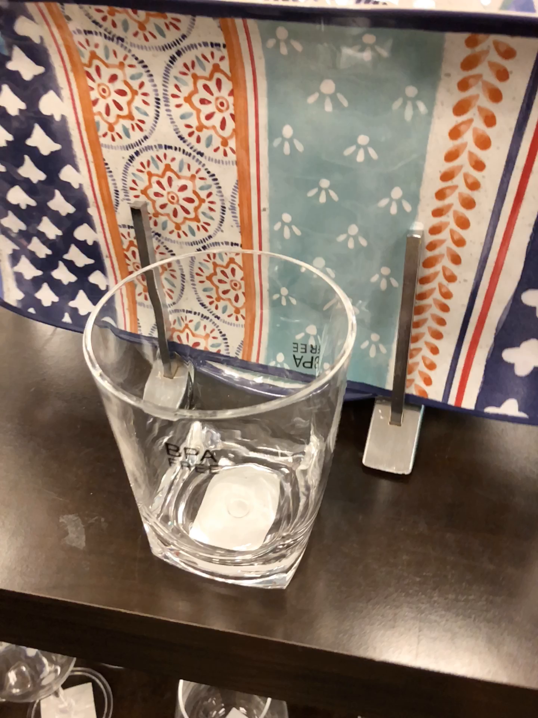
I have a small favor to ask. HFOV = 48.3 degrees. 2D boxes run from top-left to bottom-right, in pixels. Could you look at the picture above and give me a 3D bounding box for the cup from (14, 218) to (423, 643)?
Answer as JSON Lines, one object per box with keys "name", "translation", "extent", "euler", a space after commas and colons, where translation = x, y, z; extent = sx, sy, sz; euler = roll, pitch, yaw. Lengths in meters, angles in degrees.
{"name": "cup", "translation": [-0.007, 0.024, 0.244], "extent": [0.114, 0.111, 0.108], "euler": [-1, 41, 1]}
